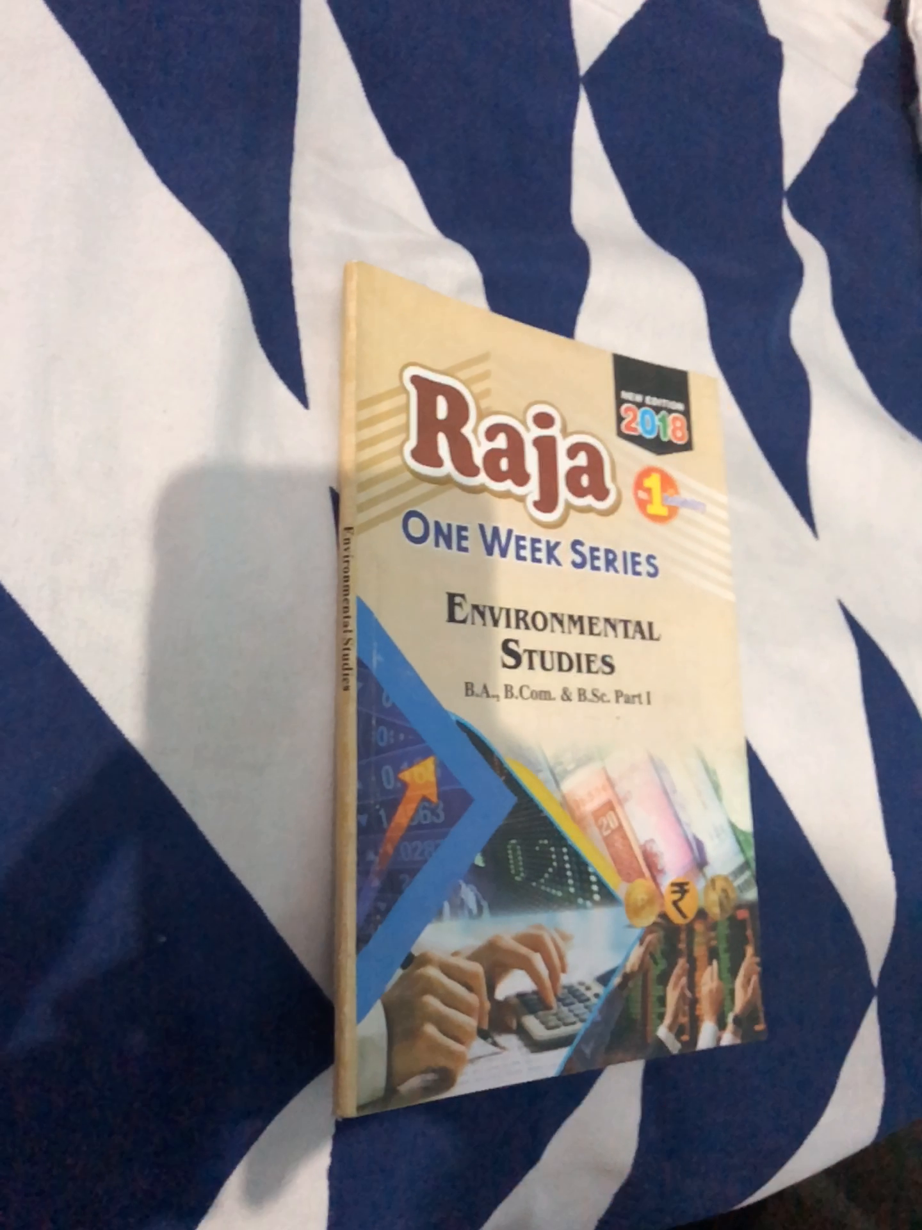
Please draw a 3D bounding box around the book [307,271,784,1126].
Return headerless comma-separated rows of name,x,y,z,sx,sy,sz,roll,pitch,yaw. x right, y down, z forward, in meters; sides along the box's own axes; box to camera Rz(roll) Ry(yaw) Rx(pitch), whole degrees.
book,0.027,0.018,0.281,0.141,0.010,0.200,6,77,-30
